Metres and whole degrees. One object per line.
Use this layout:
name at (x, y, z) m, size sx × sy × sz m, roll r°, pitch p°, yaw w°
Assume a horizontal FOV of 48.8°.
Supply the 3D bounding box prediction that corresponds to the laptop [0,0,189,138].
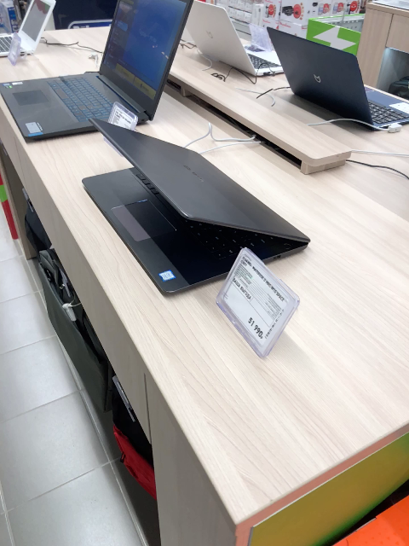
laptop at (-0.280, -0.535, 1.069) m, size 0.377 × 0.231 × 0.349 m, roll -19°, pitch 44°, yaw -23°

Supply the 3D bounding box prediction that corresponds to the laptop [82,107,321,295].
laptop at (-0.027, -0.139, 0.707) m, size 0.221 × 0.100 × 0.346 m, roll -19°, pitch 42°, yaw -22°
